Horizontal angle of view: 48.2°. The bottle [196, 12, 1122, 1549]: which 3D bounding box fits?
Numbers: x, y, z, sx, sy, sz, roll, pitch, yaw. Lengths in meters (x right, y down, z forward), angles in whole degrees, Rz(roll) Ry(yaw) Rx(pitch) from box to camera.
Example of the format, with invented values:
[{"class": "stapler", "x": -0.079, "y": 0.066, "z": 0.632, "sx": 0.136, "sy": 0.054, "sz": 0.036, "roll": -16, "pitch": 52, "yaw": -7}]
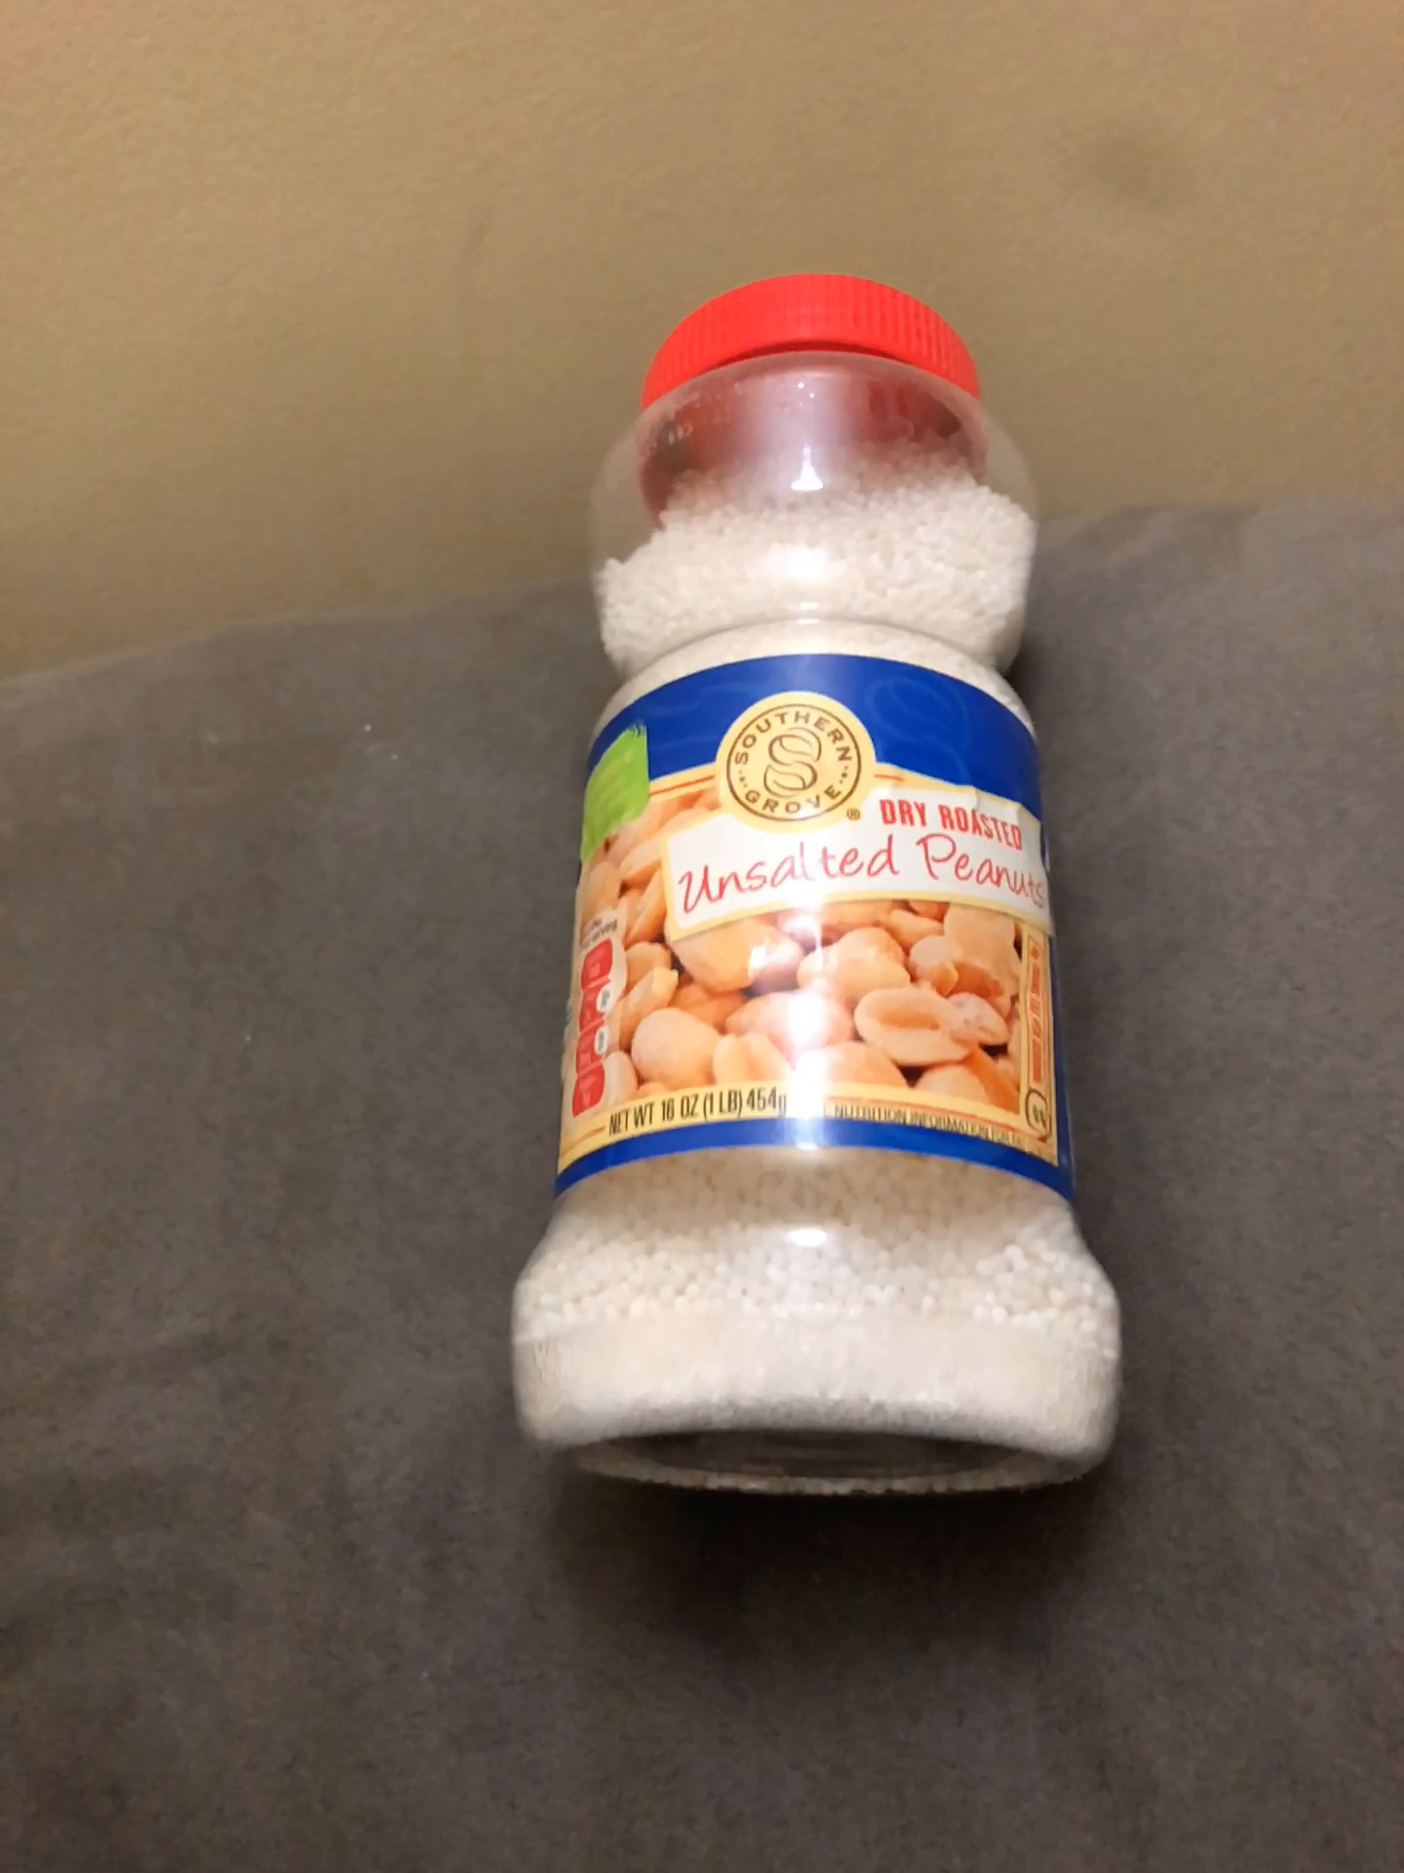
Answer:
[{"class": "bottle", "x": 0.008, "y": -0.027, "z": 0.252, "sx": 0.095, "sy": 0.090, "sz": 0.220, "roll": -5, "pitch": 61, "yaw": 16}]
